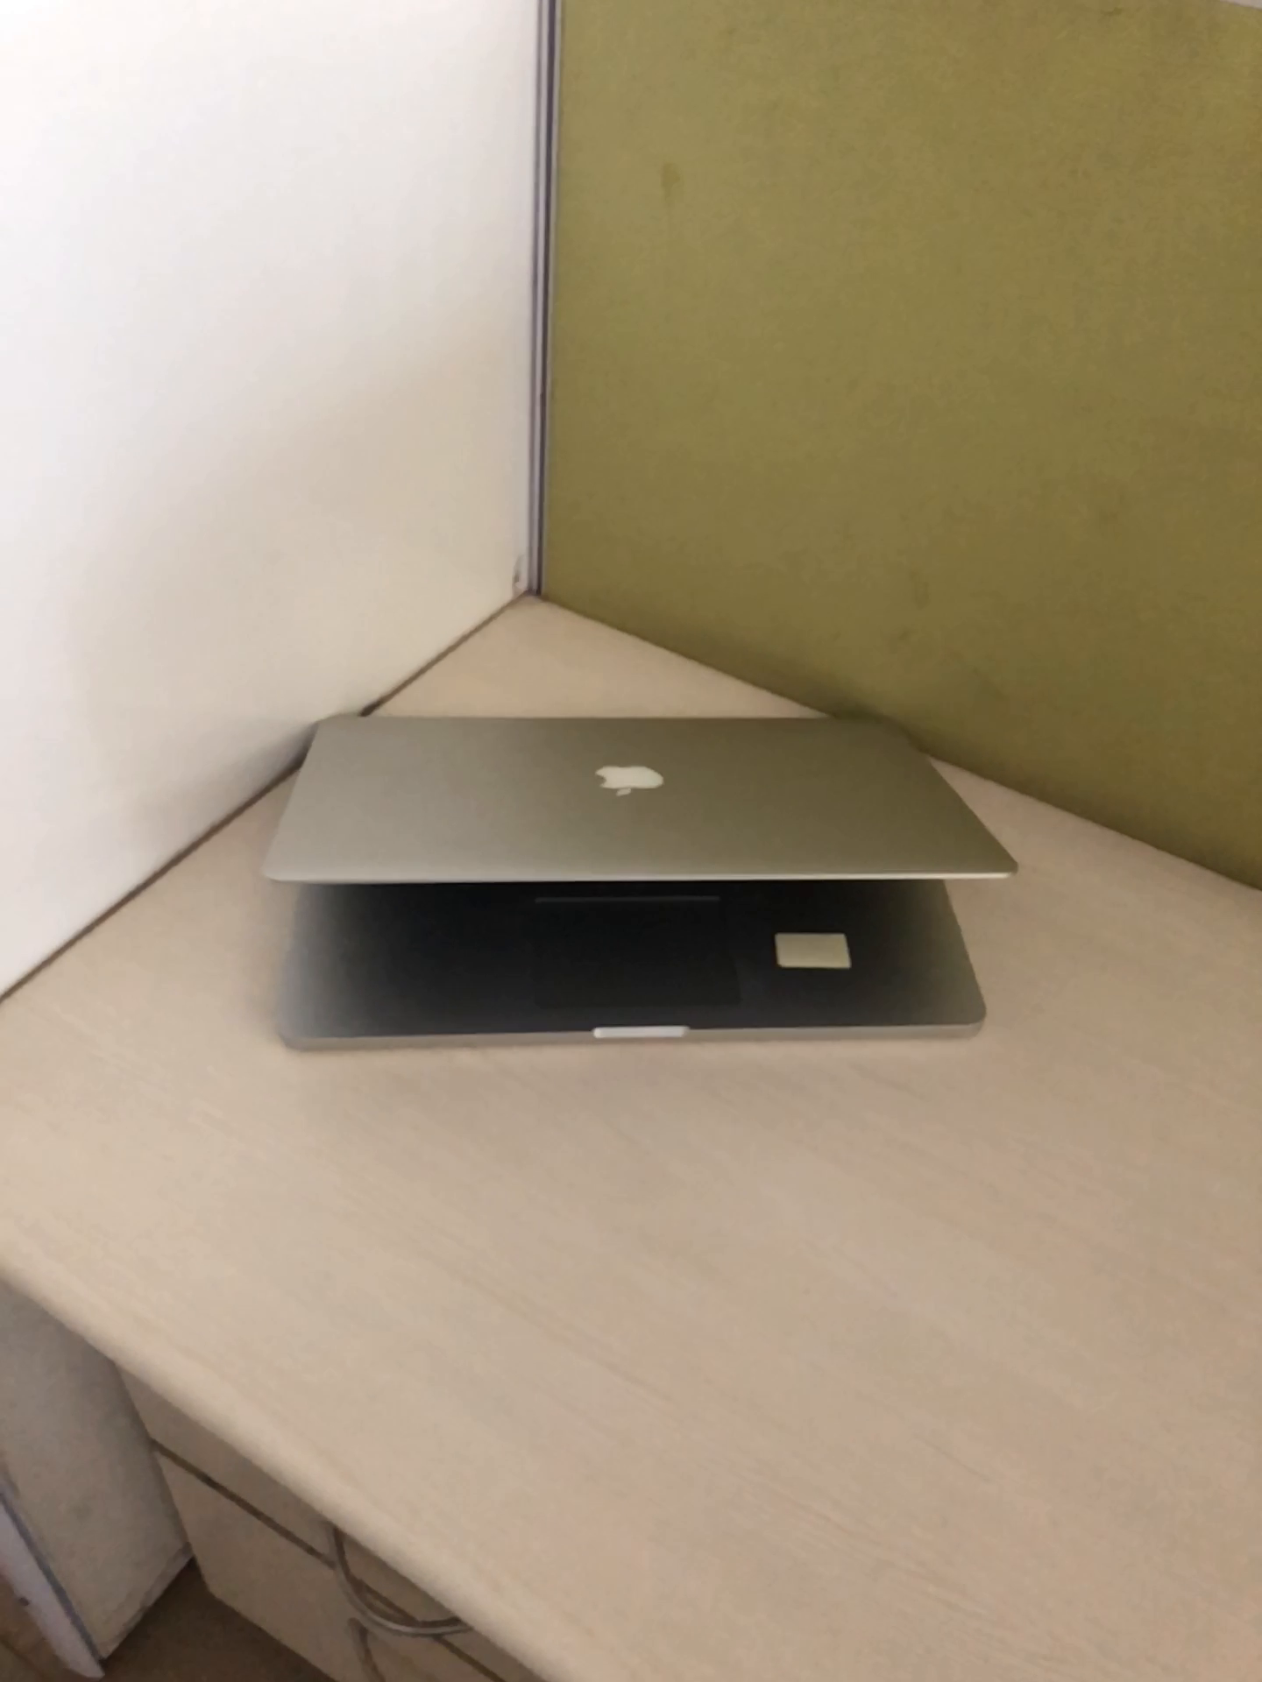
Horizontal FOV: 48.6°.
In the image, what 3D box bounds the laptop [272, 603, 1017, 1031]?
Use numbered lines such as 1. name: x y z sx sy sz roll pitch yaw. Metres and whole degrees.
1. laptop: -0.001 -0.022 0.756 0.343 0.083 0.245 0 43 -6
